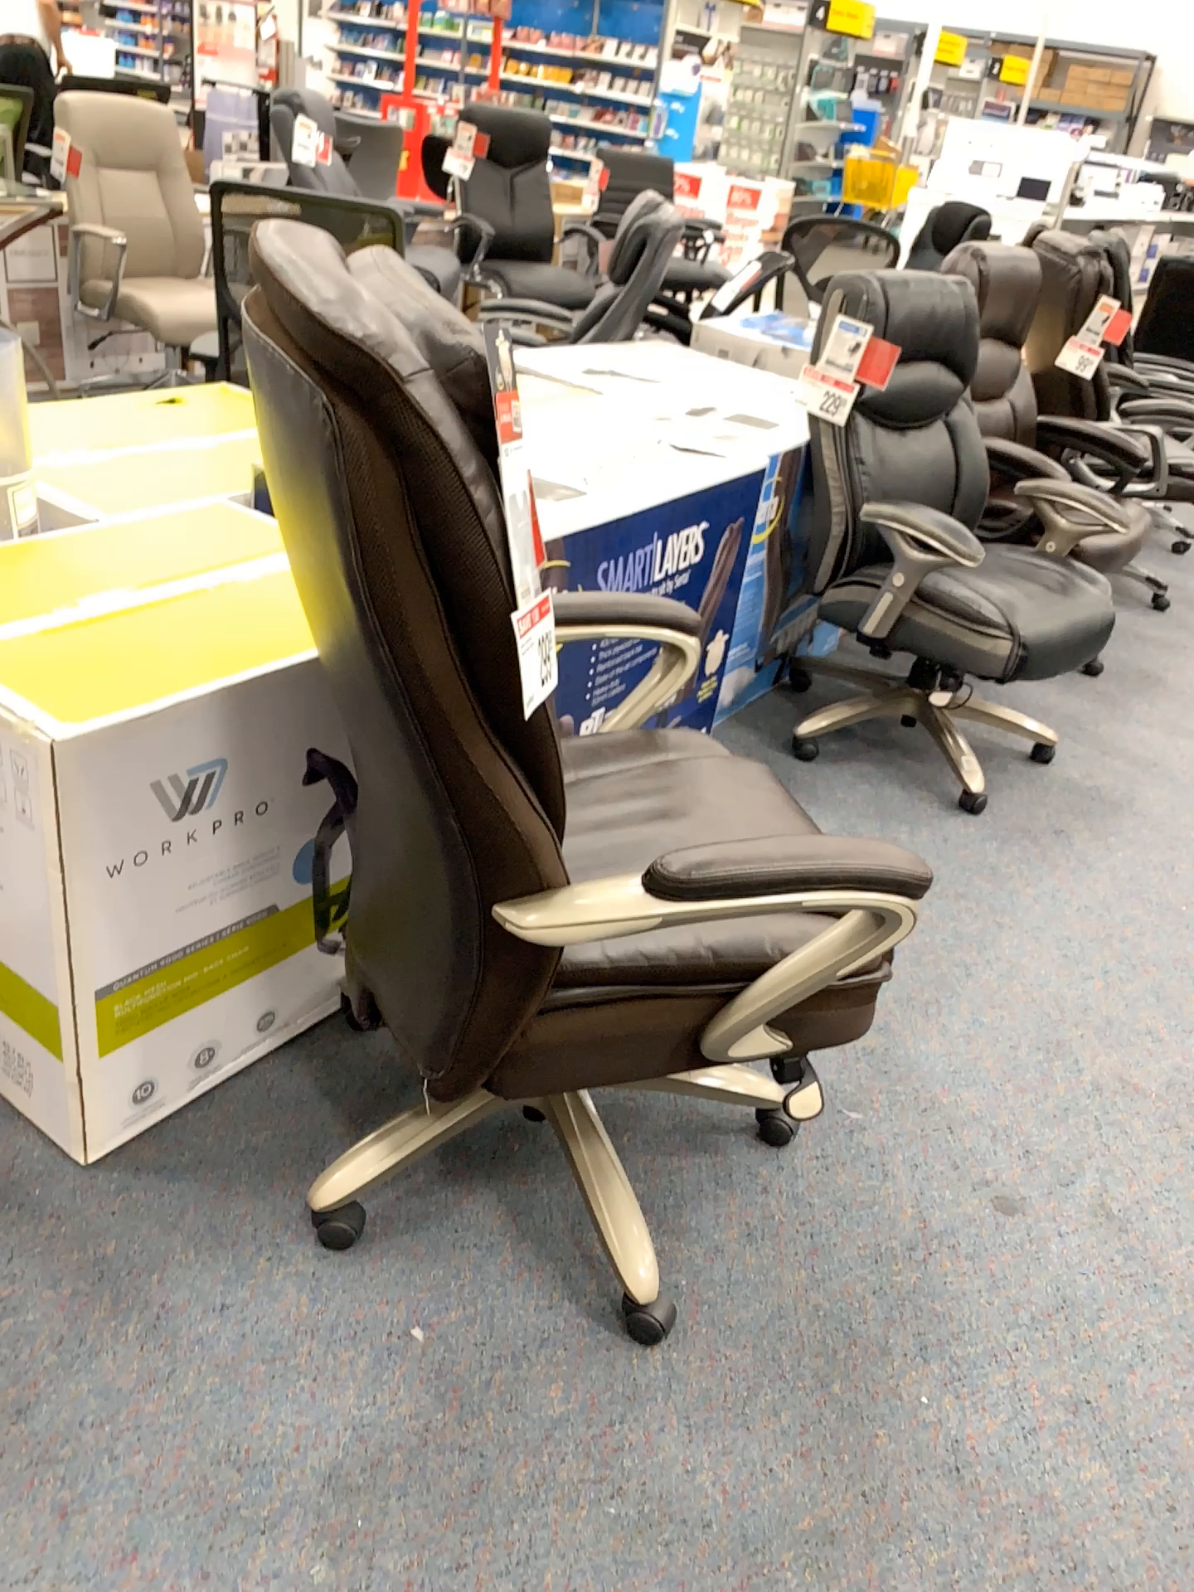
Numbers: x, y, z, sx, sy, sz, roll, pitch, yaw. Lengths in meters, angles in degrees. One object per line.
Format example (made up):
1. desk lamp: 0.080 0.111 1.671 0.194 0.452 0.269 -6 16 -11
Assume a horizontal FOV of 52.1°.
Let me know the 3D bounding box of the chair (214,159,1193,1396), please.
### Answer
1. chair: 0.010 -0.037 1.450 0.844 1.104 0.785 2 31 -16

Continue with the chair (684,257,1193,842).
1. chair: 0.787 -0.599 2.740 0.755 0.995 0.704 27 34 28
